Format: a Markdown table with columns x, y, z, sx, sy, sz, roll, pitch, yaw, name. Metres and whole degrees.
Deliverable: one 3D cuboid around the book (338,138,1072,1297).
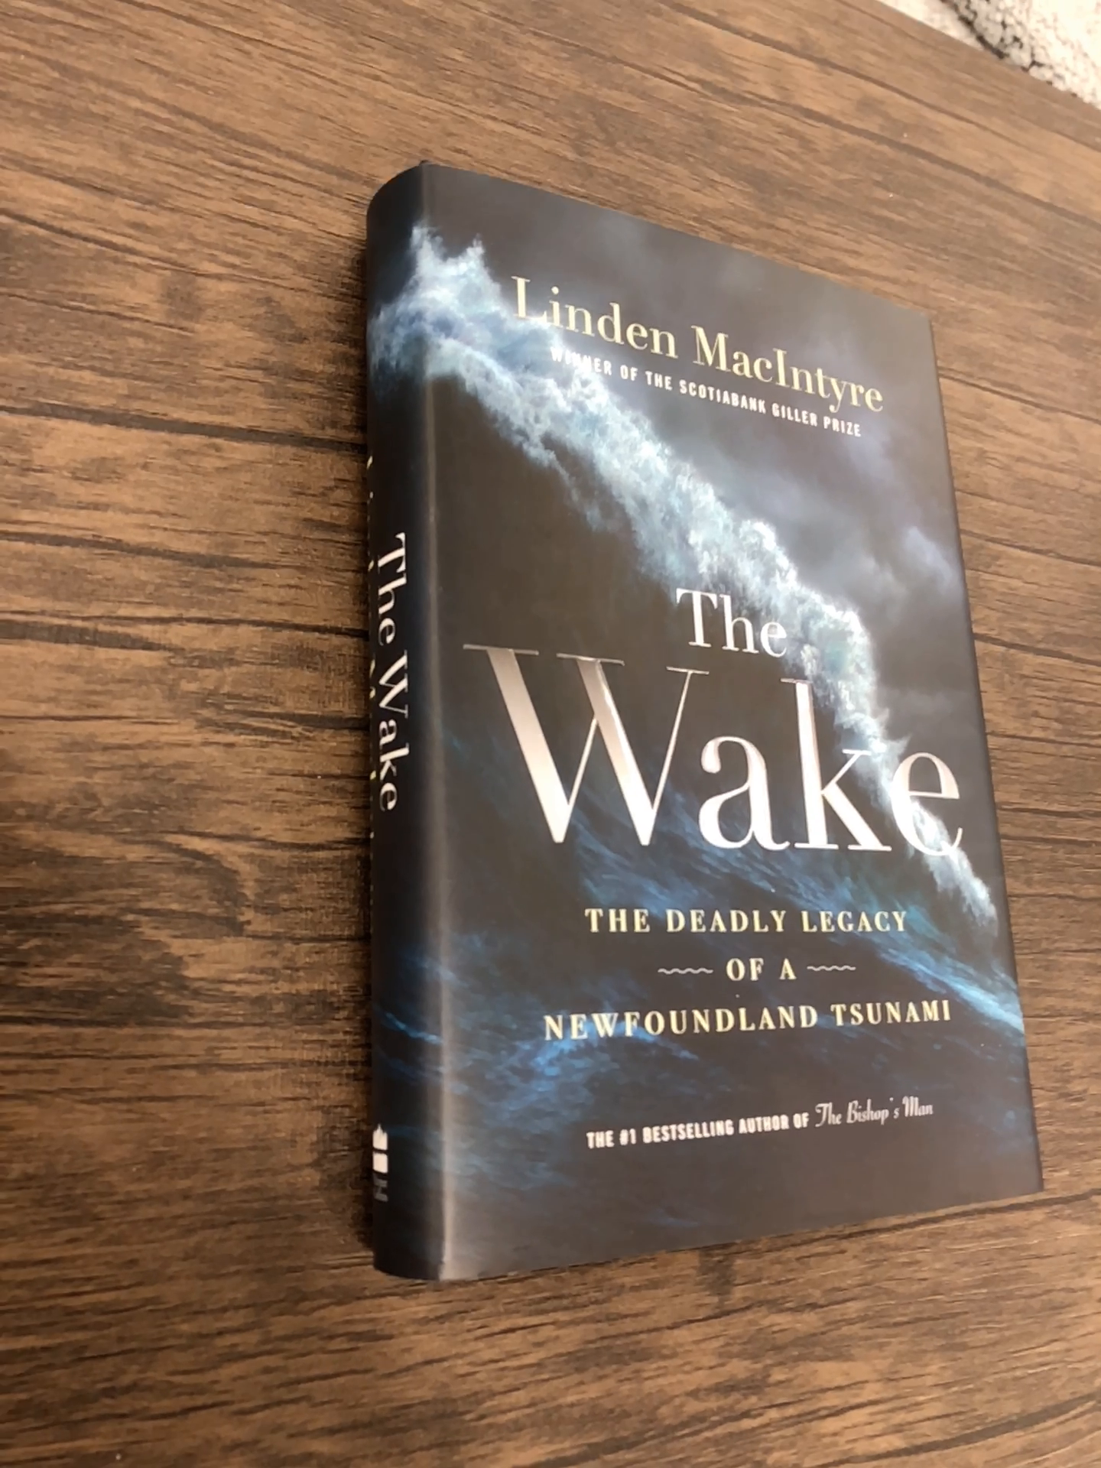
| x | y | z | sx | sy | sz | roll | pitch | yaw | name |
| --- | --- | --- | --- | --- | --- | --- | --- | --- | --- |
| 0.035 | -0.004 | 0.294 | 0.160 | 0.050 | 0.230 | 6 | 74 | -28 | book |
